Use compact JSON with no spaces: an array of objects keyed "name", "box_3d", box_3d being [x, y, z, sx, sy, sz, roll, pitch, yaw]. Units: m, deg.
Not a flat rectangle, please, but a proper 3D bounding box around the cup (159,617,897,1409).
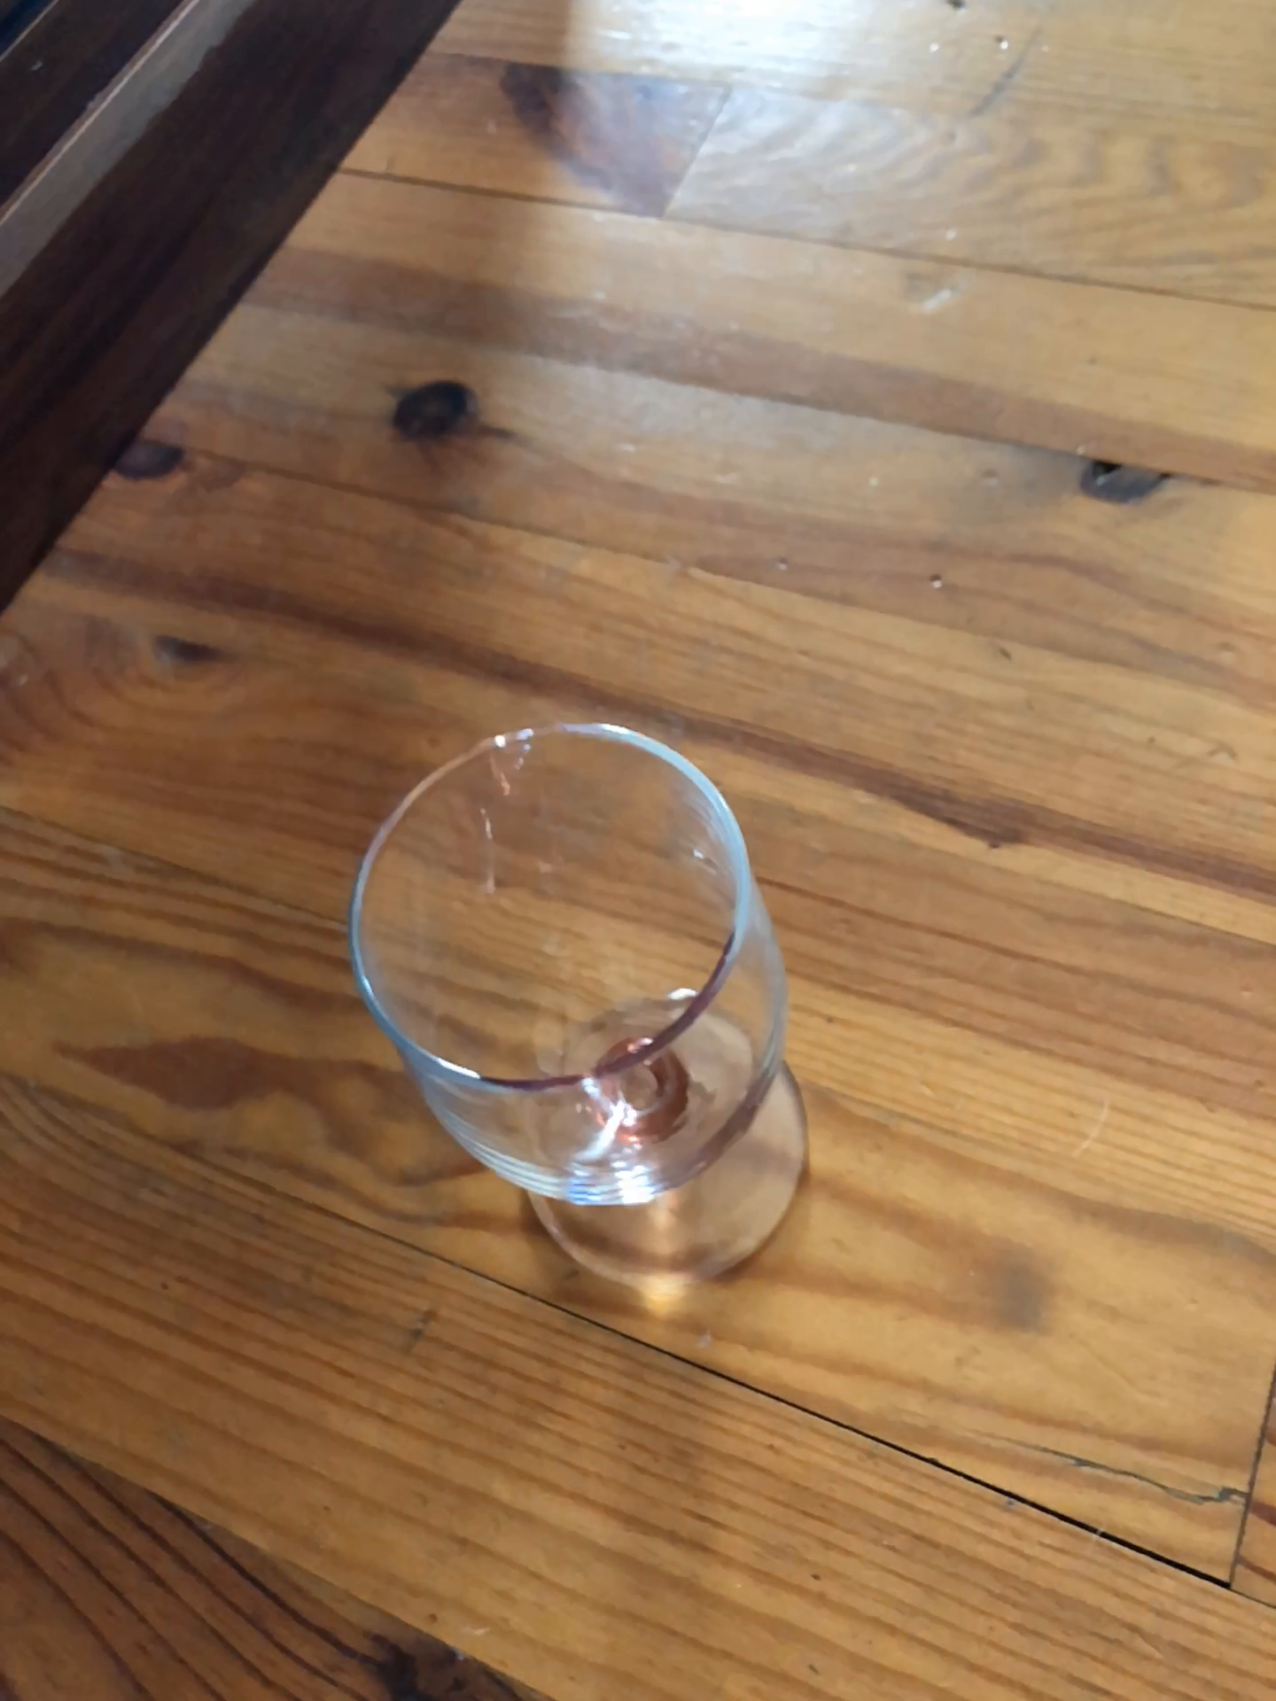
[{"name":"cup","box_3d":[-0.008,0.040,0.286,0.087,0.132,0.084,-5,61,8]}]
